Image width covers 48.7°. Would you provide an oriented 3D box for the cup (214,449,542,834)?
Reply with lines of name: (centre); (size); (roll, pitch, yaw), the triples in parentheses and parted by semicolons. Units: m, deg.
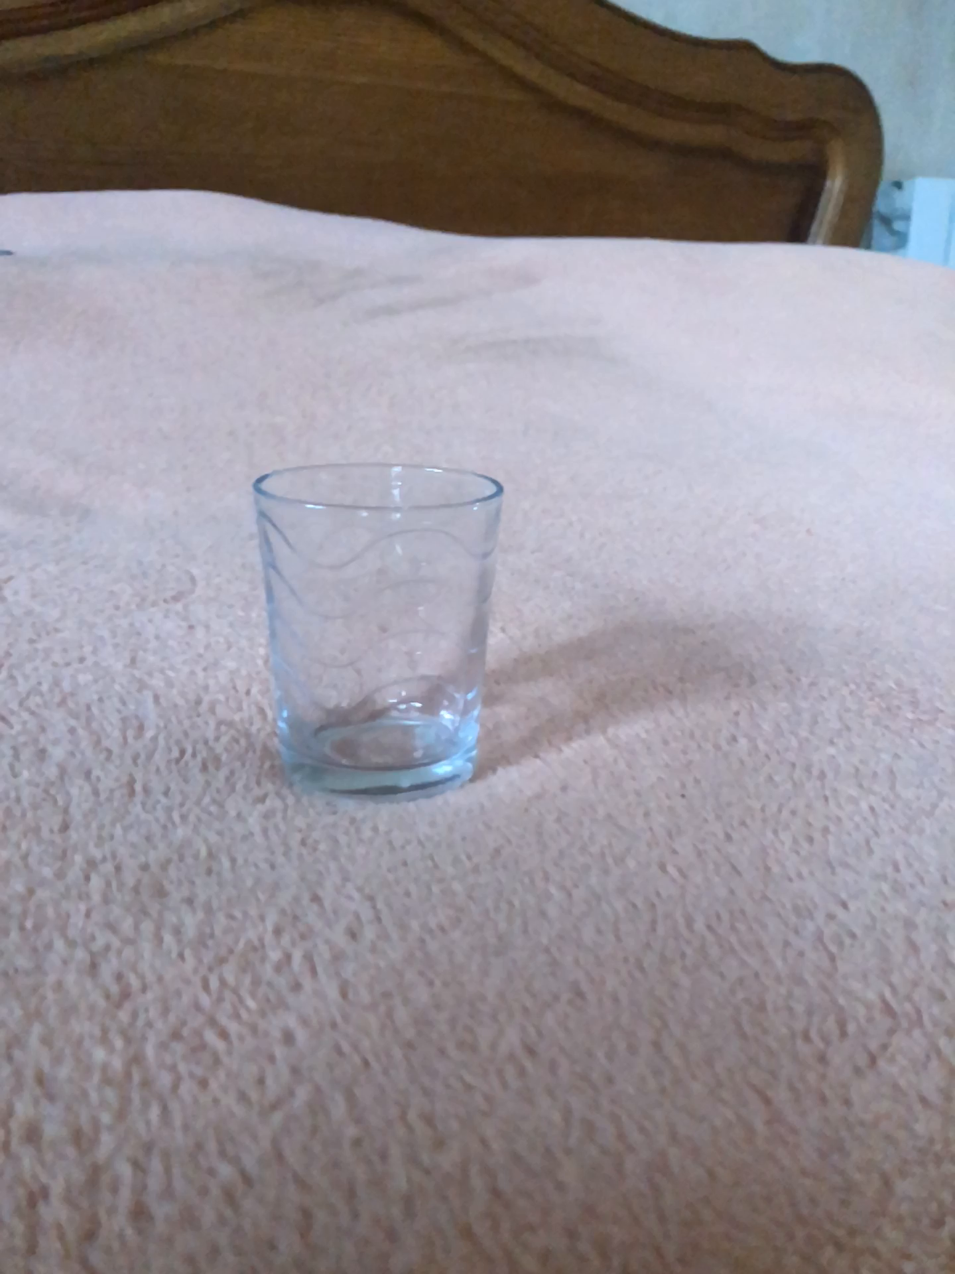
cup: (-0.024, -0.004, 0.280); (0.060, 0.080, 0.060); (1, 18, 0)
